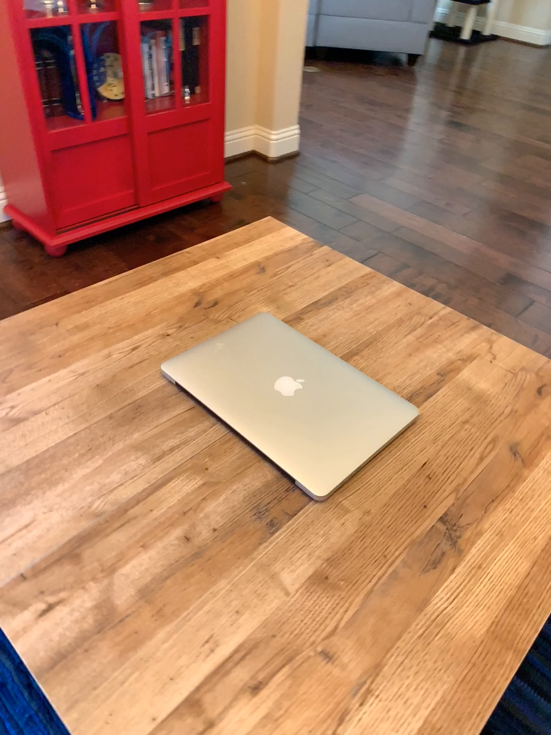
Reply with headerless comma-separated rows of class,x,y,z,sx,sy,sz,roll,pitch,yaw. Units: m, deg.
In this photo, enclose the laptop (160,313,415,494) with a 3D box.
laptop,0.014,0.029,0.793,0.299,0.002,0.208,35,48,30
